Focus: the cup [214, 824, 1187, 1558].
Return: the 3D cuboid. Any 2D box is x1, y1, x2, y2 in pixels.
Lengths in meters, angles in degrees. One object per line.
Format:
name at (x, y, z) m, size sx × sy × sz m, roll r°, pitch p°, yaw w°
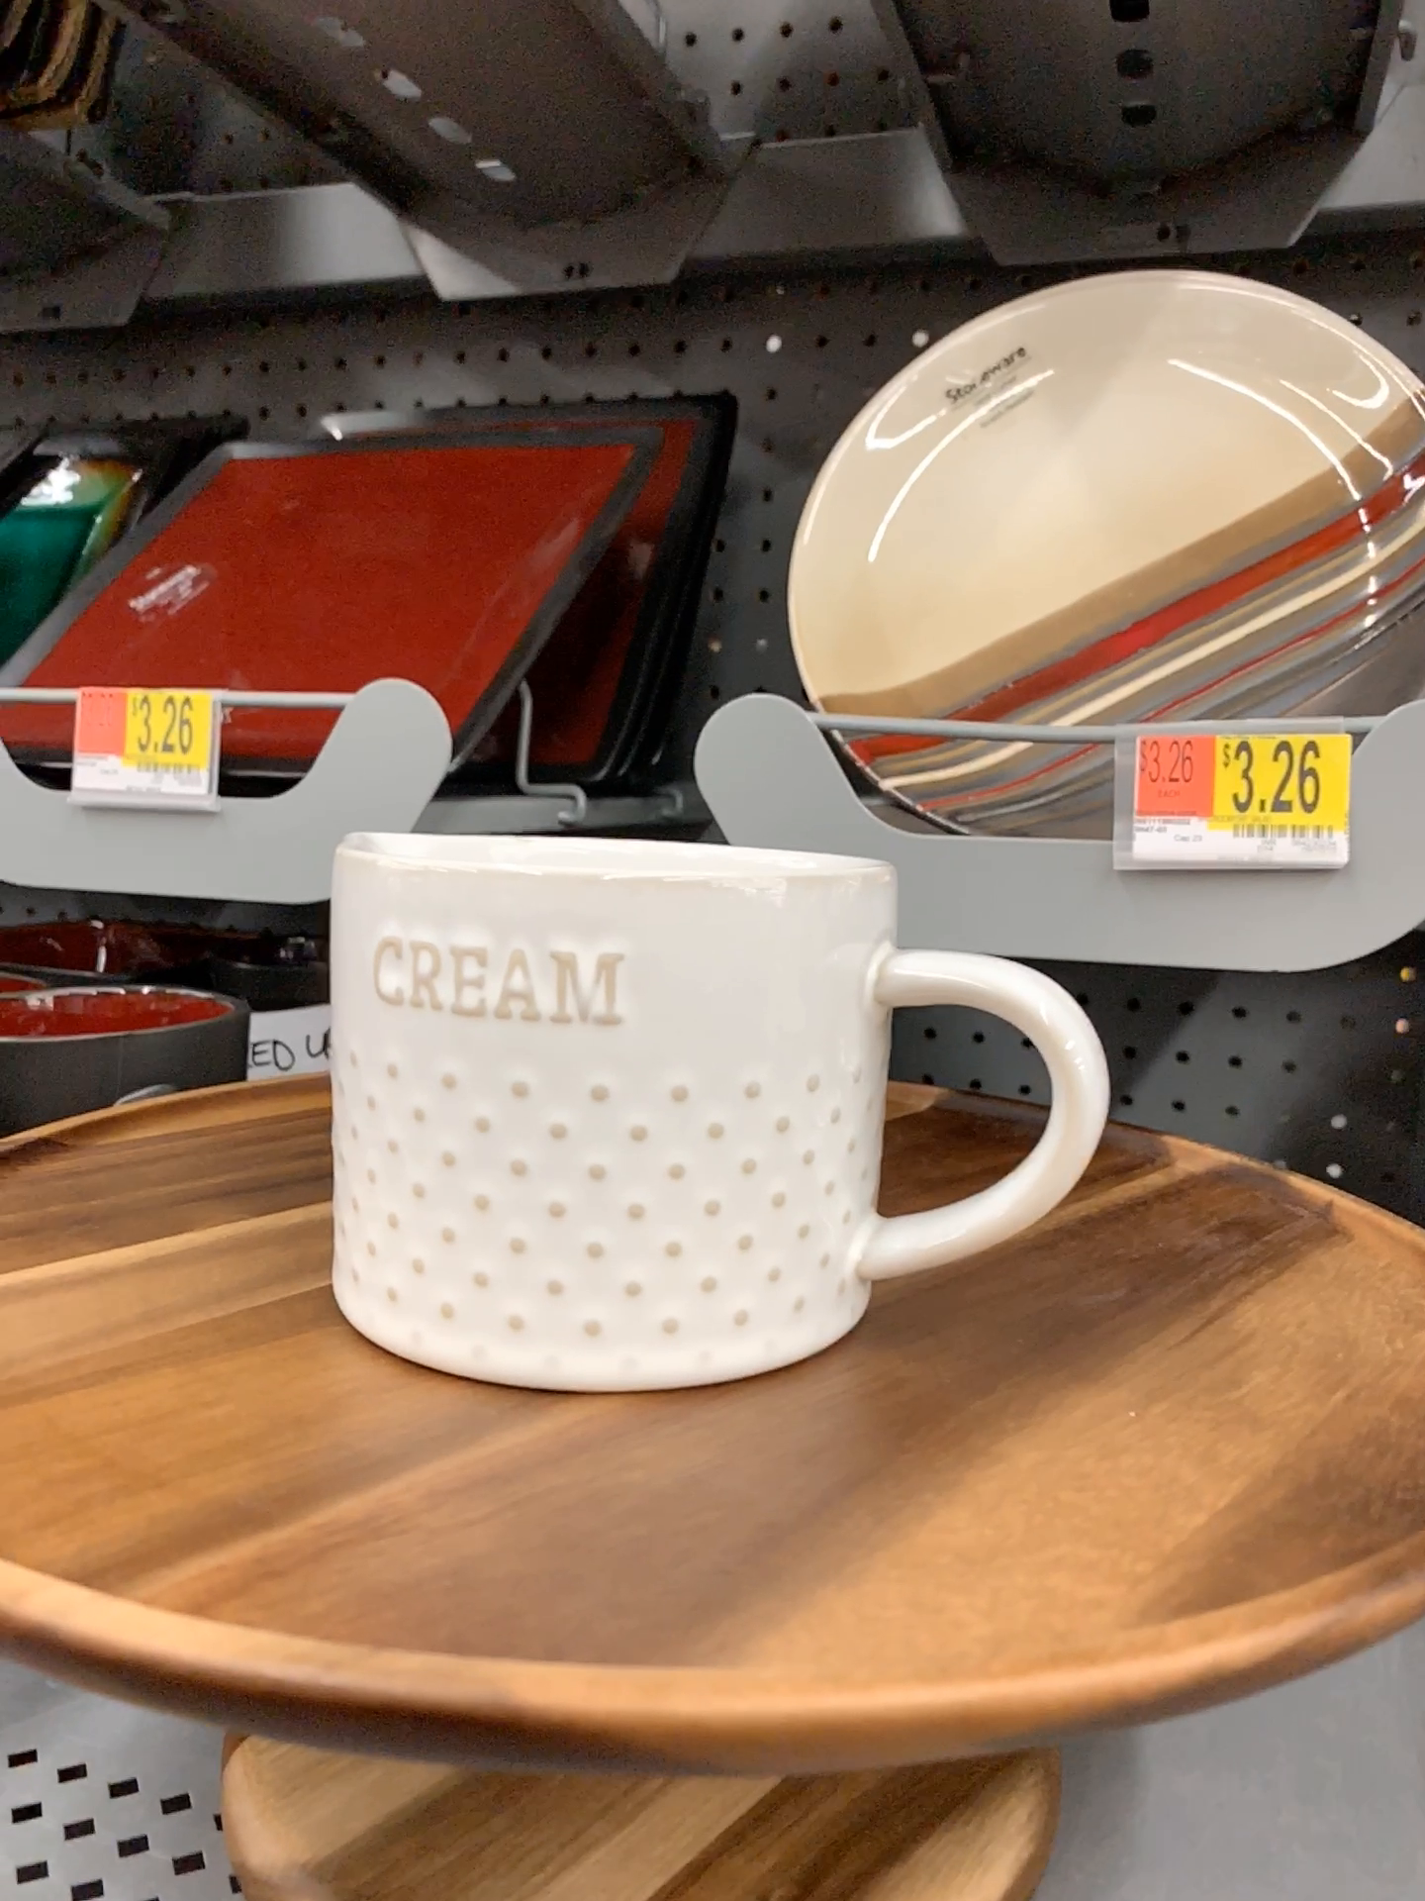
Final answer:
cup at (0.002, 0.028, 0.274) m, size 0.150 × 0.090 × 0.100 m, roll 6°, pitch 8°, yaw 22°
